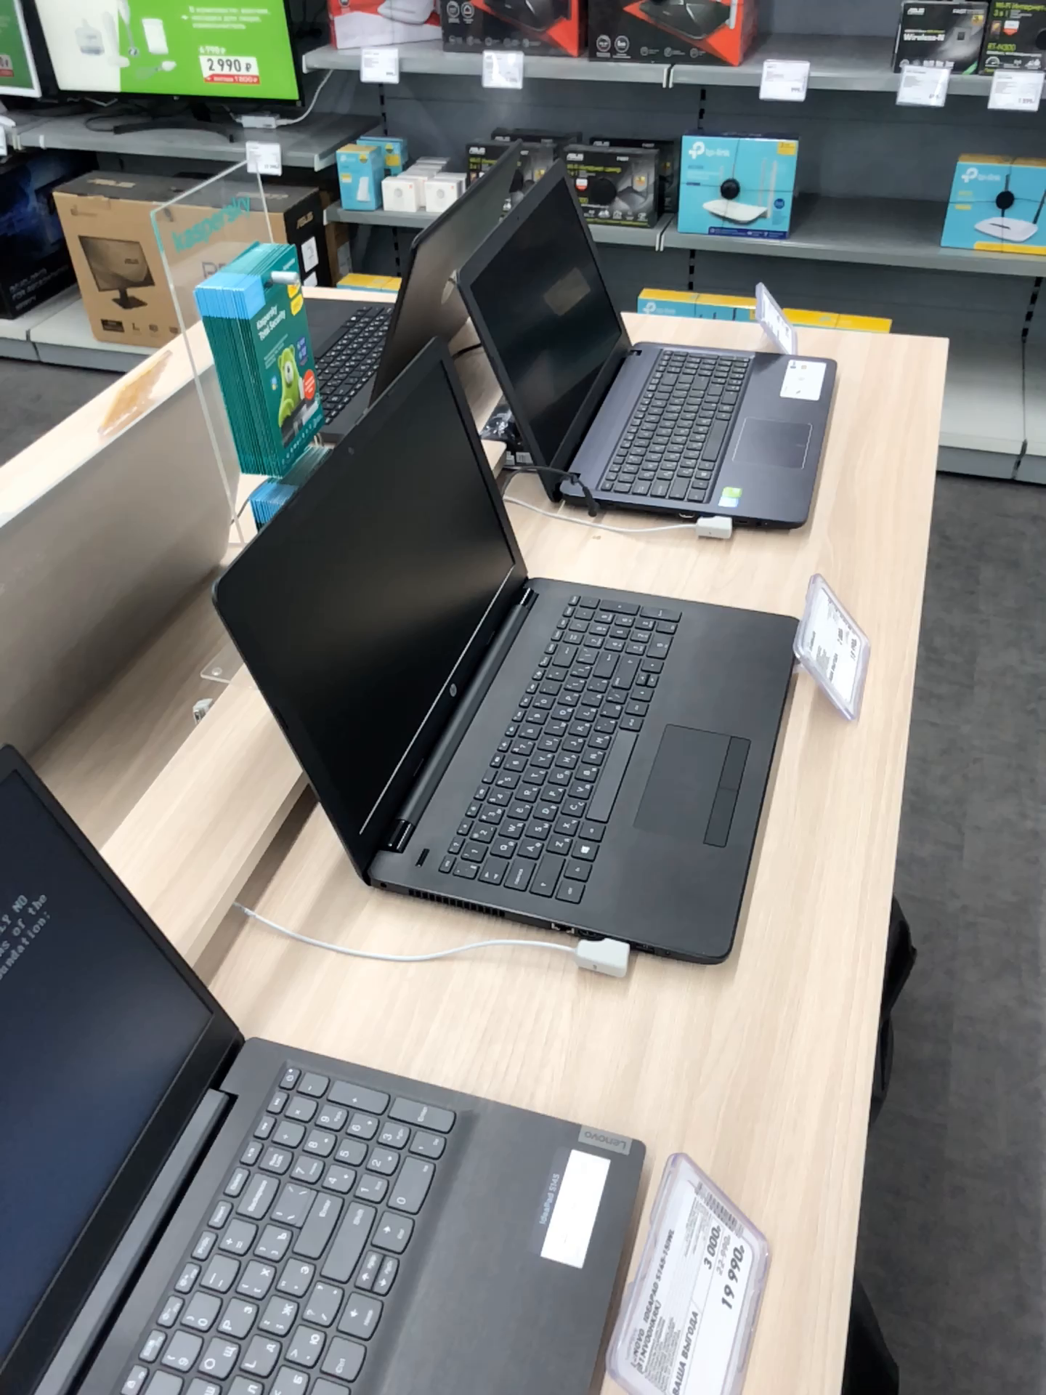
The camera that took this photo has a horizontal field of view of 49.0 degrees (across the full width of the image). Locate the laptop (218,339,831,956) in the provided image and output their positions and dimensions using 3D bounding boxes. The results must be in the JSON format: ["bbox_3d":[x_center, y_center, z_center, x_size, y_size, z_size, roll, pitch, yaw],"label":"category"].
[{"bbox_3d":[0.031,-0.063,0.818,0.311,0.216,0.368,10,41,13],"label":"laptop"}]

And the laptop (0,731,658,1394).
[{"bbox_3d":[-0.138,0.233,0.462,0.327,0.213,0.333,10,40,13],"label":"laptop"}]

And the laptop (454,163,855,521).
[{"bbox_3d":[0.153,-0.390,1.208,0.333,0.209,0.371,9,40,11],"label":"laptop"}]
